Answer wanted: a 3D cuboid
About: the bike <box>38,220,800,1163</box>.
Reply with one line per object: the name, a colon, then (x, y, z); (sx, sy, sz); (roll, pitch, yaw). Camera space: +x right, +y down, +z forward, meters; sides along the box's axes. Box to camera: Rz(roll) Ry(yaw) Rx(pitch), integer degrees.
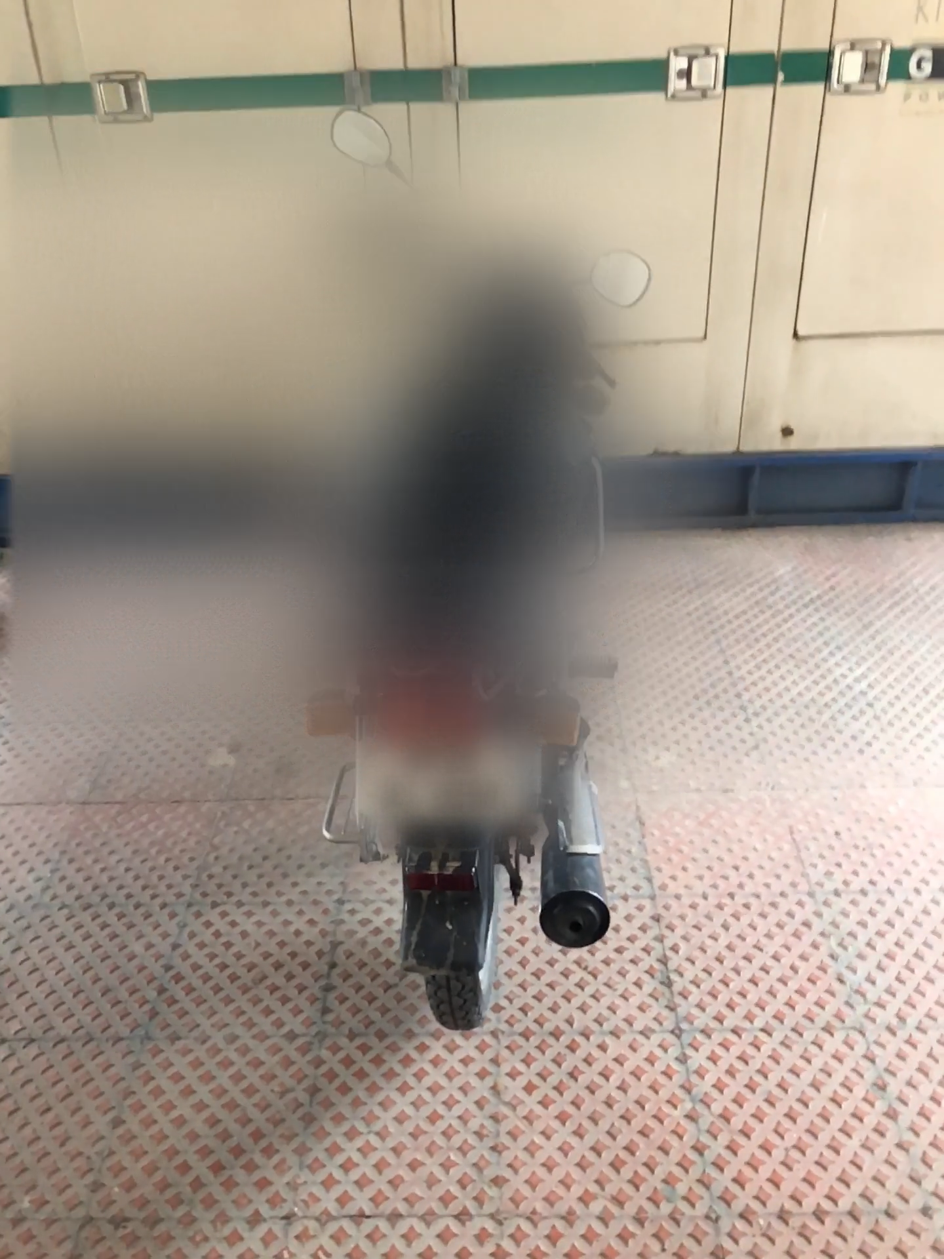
bike: (0.103, -0.134, 2.084); (0.735, 1.087, 1.868); (4, 29, 9)
